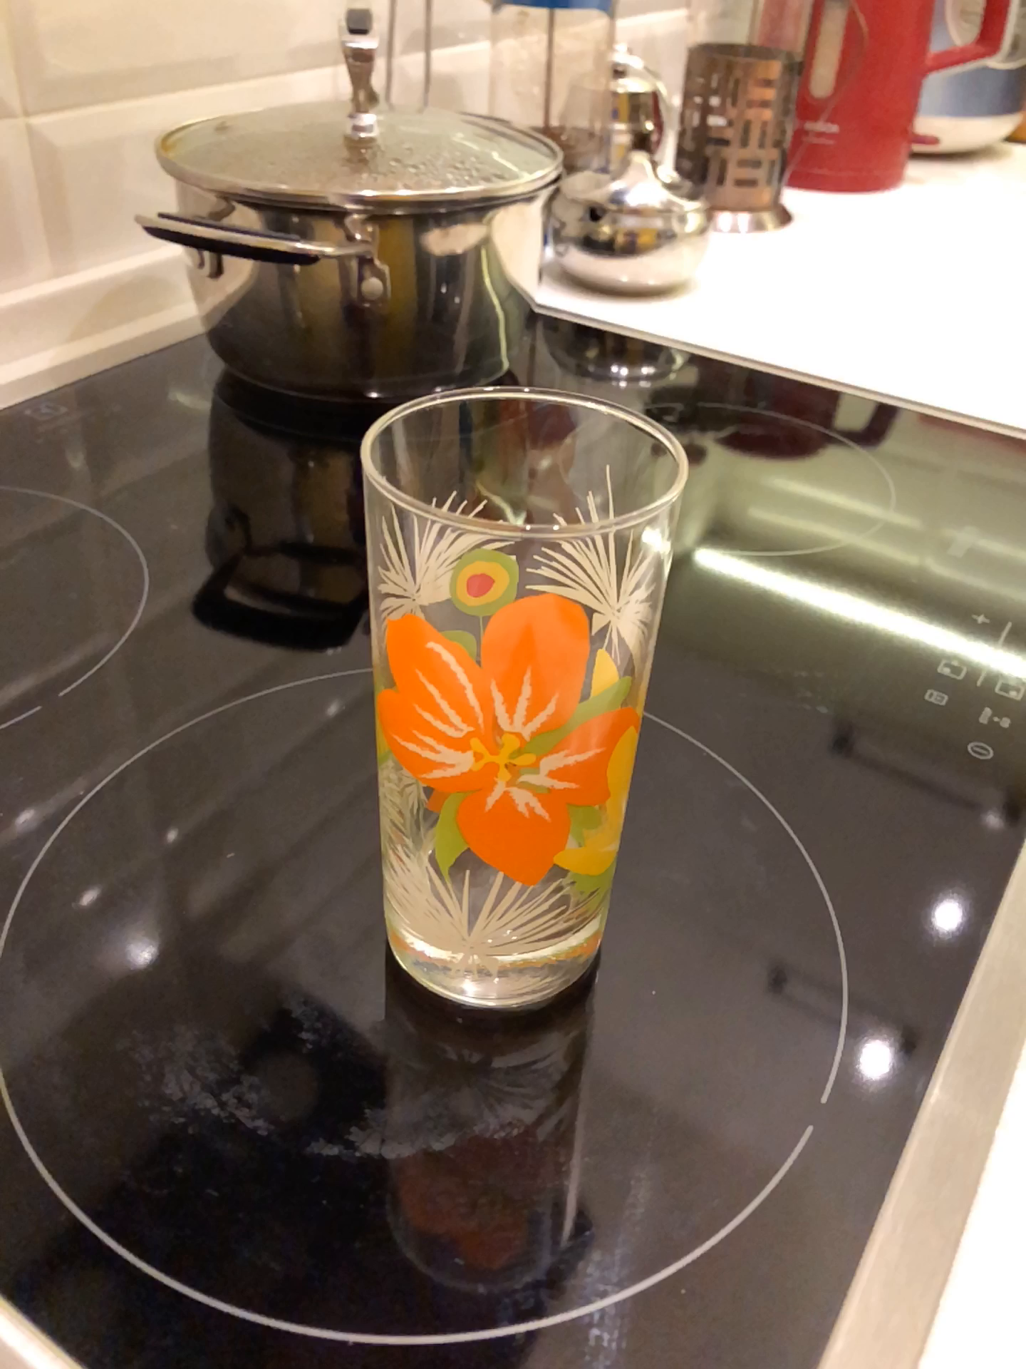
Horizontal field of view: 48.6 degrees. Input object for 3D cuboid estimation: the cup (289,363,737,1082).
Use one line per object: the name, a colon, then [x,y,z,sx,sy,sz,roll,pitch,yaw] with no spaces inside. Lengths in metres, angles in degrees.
cup: [0.000,0.011,0.256,0.066,0.138,0.063,2,36,-2]
